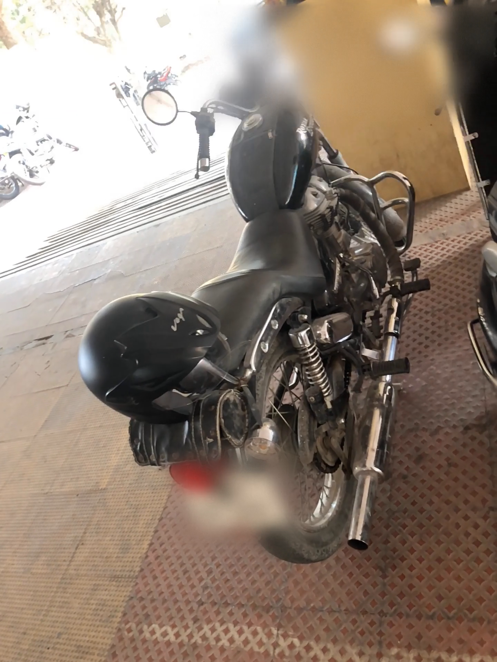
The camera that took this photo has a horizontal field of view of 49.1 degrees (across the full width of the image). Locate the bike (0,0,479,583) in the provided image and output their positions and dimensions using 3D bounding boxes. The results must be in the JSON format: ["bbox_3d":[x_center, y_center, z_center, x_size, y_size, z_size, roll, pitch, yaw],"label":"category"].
[{"bbox_3d":[0.032,-0.341,1.872,0.784,1.177,1.818,-18,38,23],"label":"bike"}]
